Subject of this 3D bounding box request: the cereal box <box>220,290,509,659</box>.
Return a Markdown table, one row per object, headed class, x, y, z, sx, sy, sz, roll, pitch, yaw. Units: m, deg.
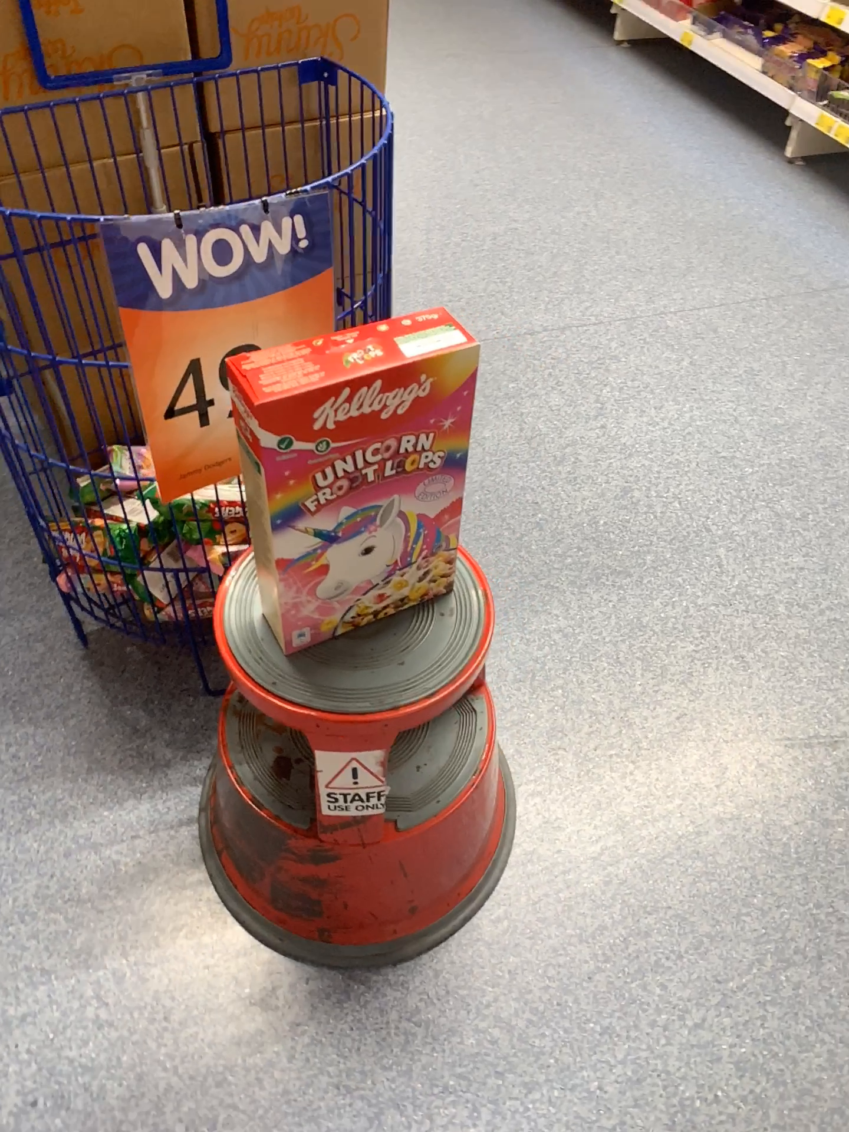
| class | x | y | z | sx | sy | sz | roll | pitch | yaw |
| --- | --- | --- | --- | --- | --- | --- | --- | --- | --- |
| cereal box | -0.049 | -0.072 | 0.757 | 0.210 | 0.287 | 0.070 | -21 | 51 | -22 |
